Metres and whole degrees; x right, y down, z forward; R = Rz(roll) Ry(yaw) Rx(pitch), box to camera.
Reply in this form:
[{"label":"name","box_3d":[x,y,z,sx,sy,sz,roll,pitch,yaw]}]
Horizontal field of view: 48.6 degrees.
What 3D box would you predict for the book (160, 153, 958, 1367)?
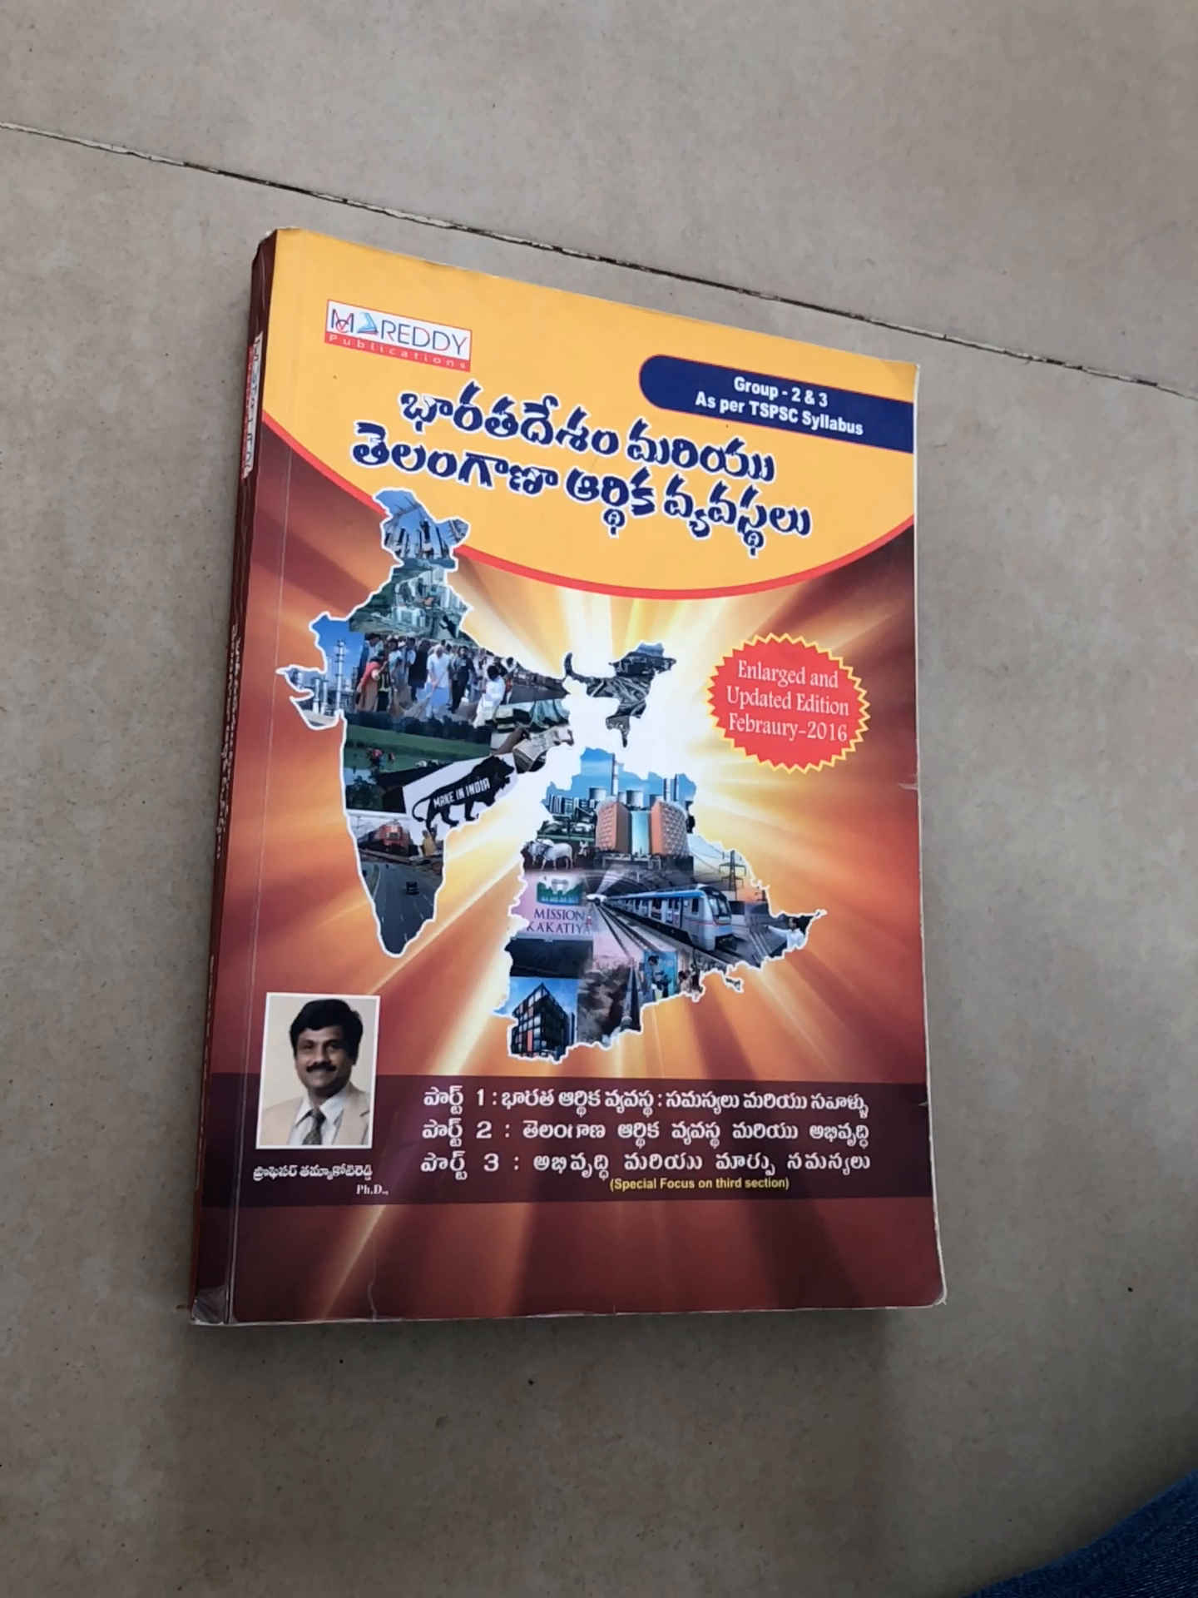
[{"label":"book","box_3d":[-0.002,-0.011,0.344,0.190,0.030,0.280,5,78,-19]}]
